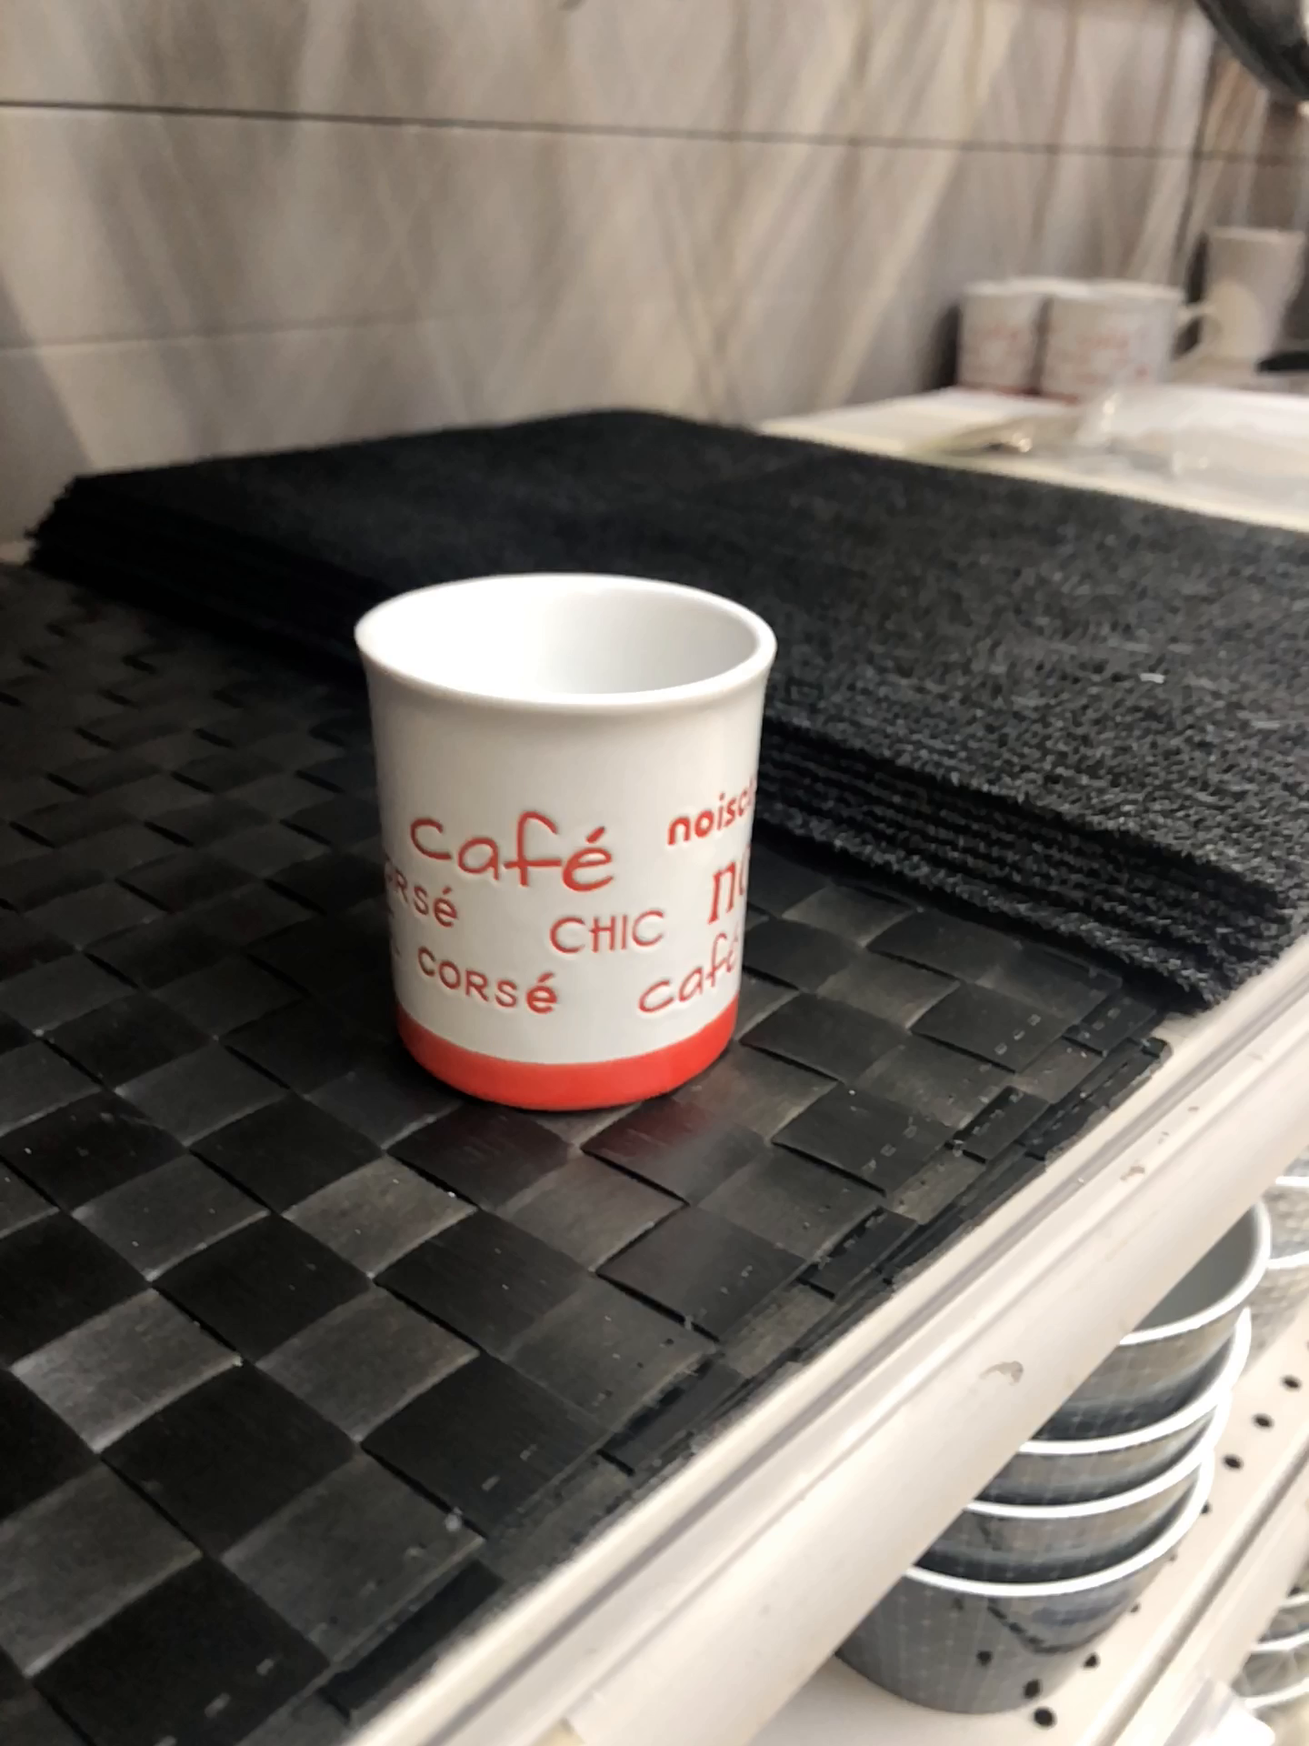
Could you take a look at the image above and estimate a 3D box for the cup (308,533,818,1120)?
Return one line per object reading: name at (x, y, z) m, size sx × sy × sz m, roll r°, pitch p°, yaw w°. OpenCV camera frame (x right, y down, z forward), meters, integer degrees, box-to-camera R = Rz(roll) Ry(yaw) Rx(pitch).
cup at (-0.017, -0.014, 0.251) m, size 0.067 × 0.064 × 0.097 m, roll -1°, pitch 26°, yaw -6°
